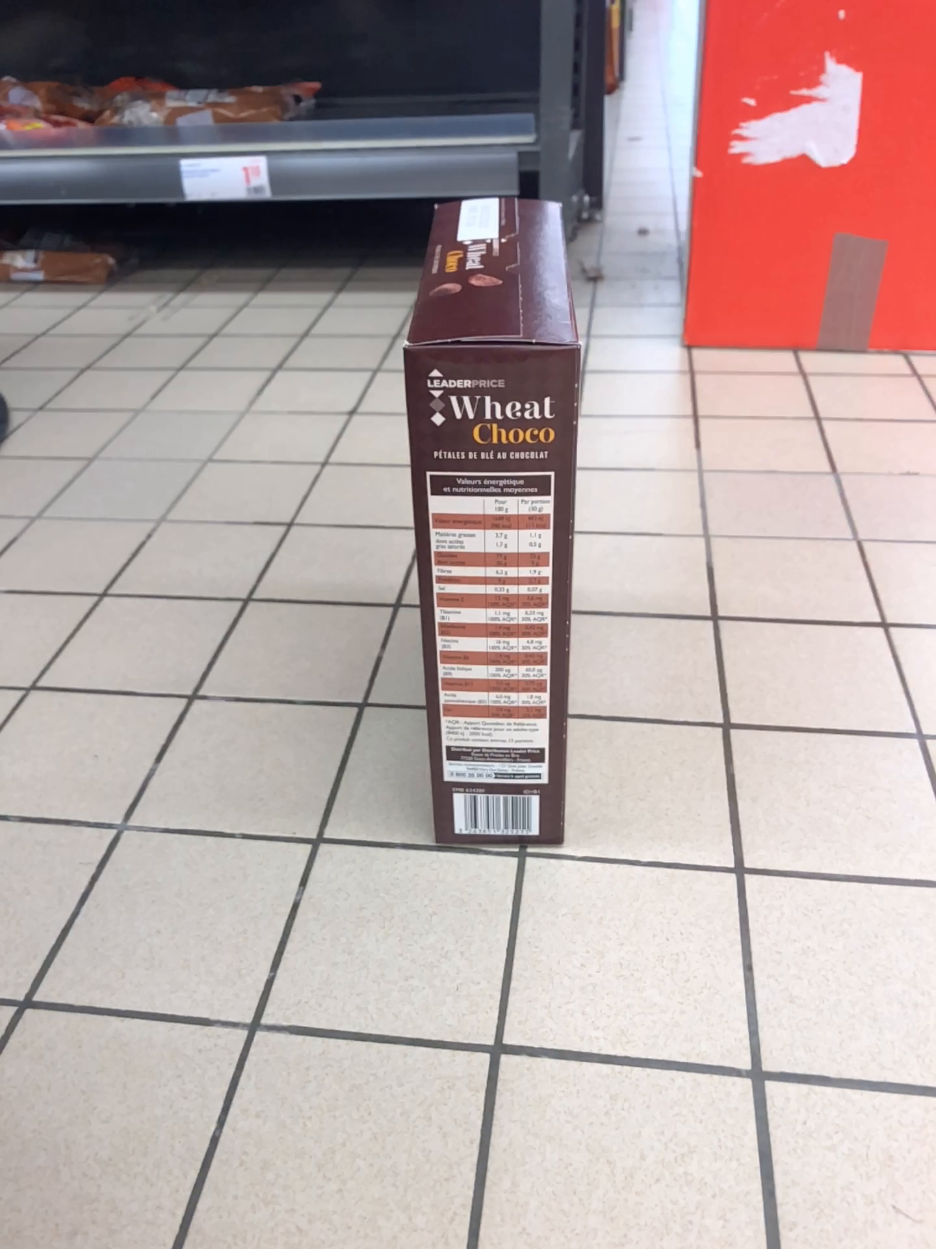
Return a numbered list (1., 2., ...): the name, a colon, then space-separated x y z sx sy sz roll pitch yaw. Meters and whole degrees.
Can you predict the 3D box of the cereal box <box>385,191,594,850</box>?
1. cereal box: 0.017 -0.053 0.500 0.070 0.248 0.201 -1 35 4
